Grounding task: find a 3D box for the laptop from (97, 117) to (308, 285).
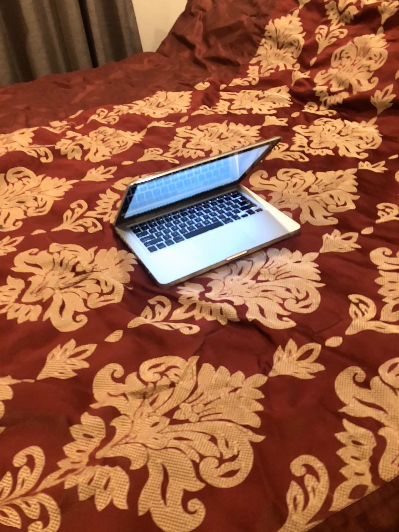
[{"bbox_3d":[0.008,-0.139,0.821,0.312,0.156,0.213,-23,42,-23],"label":"laptop"}]
